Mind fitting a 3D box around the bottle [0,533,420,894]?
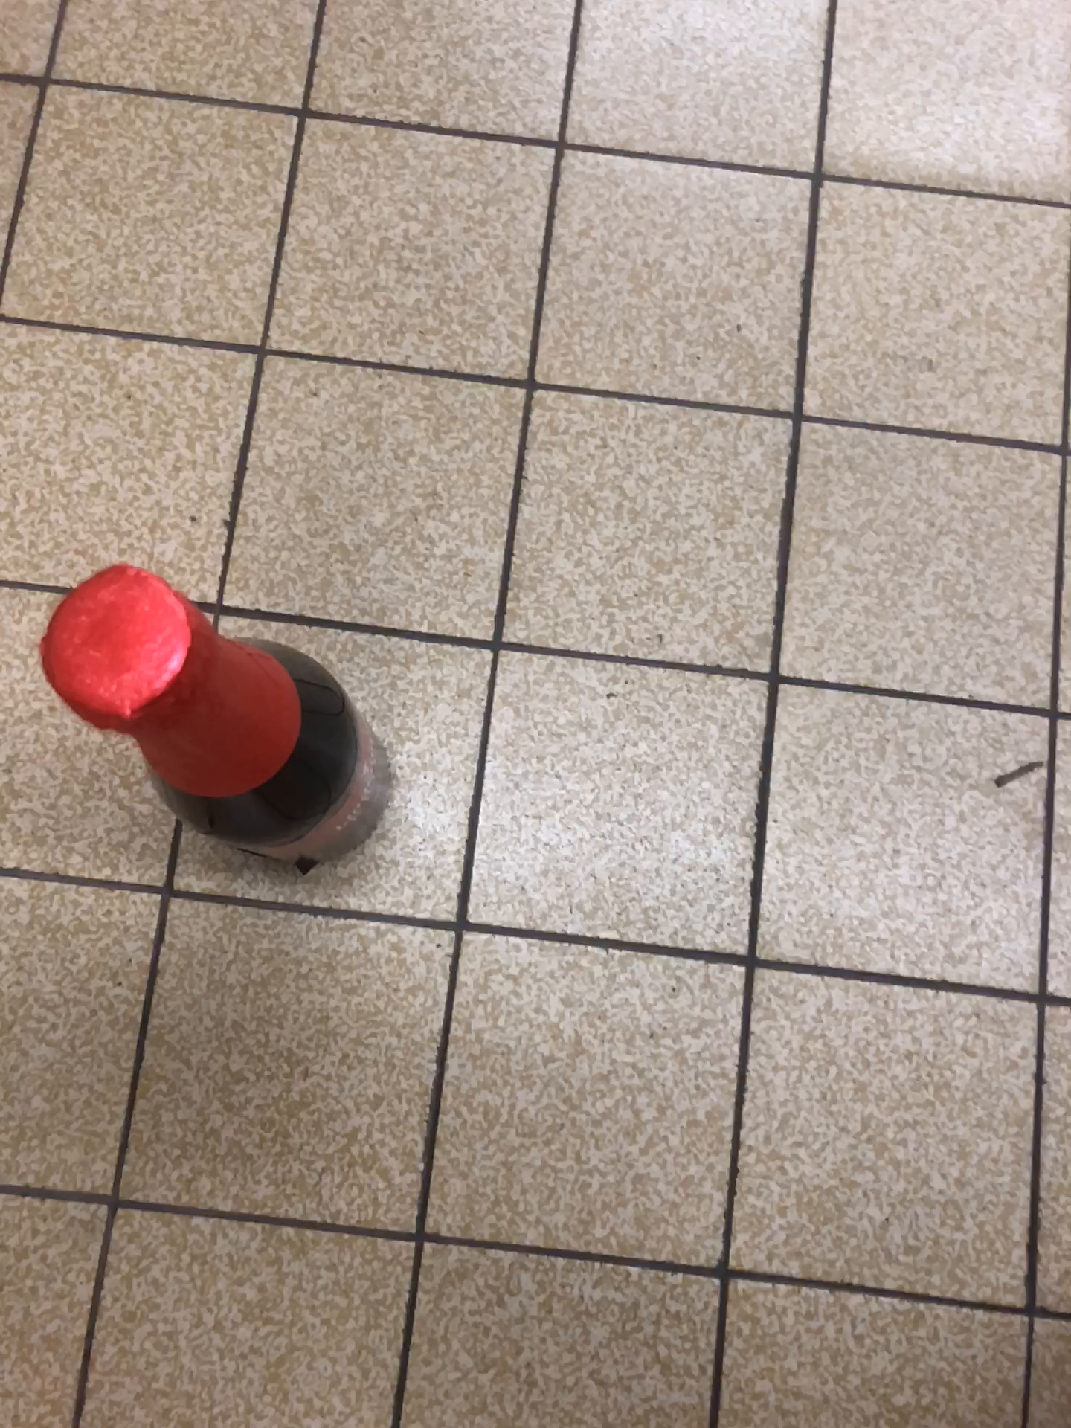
[{"bbox_3d":[-0.069,0.014,0.309,0.060,0.200,0.060,0,80,-1],"label":"bottle"}]
